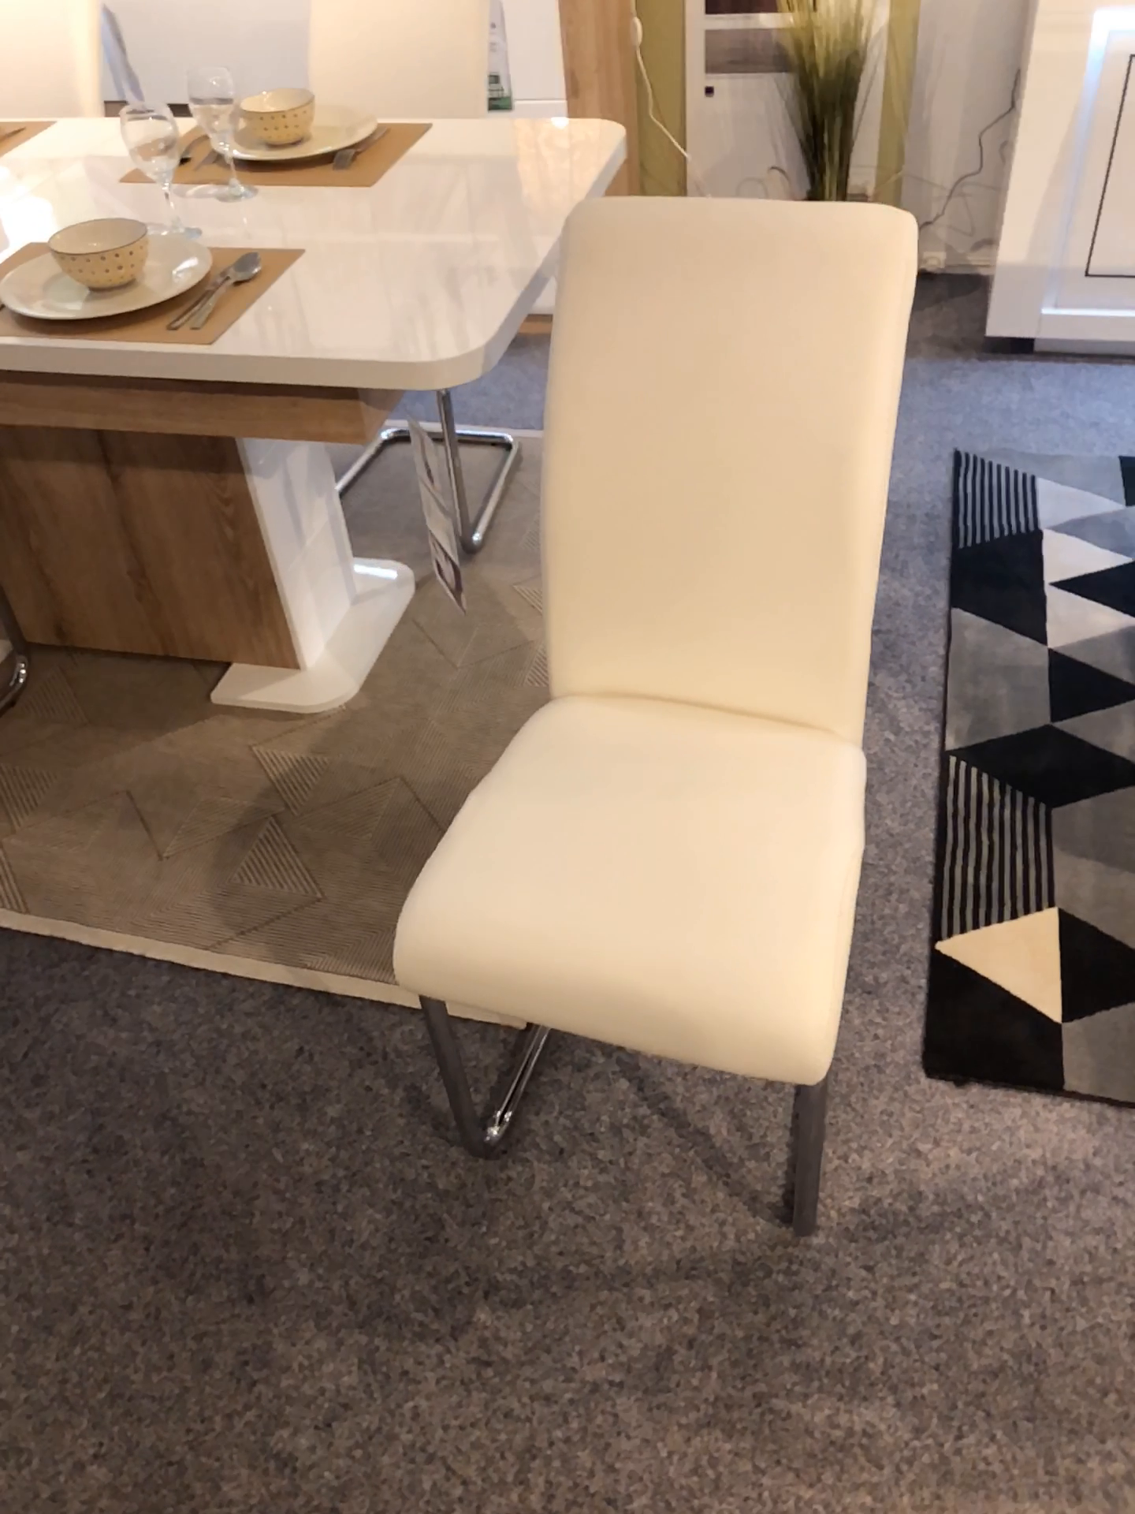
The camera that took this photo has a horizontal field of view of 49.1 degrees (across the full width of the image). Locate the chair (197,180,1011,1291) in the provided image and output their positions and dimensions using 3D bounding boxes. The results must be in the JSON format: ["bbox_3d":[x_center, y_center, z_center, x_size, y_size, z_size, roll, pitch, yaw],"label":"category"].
[{"bbox_3d":[0.108,0.001,1.244,0.500,0.925,0.553,7,43,14],"label":"chair"}]
